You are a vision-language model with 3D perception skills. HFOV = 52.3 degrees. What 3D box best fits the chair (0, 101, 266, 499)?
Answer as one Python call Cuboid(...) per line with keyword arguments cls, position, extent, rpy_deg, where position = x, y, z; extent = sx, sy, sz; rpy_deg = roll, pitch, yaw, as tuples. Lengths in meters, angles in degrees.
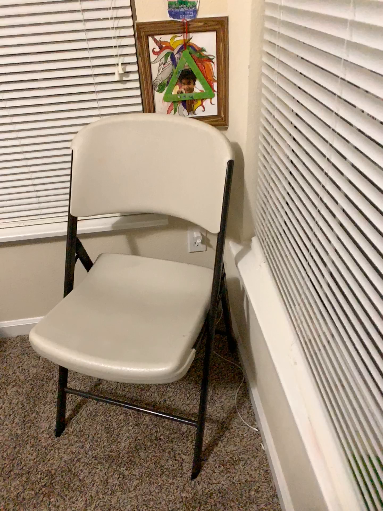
Cuboid(cls="chair", position=(-0.178, 0.067, 1.151), extent=(0.611, 0.816, 0.683), rpy_deg=(10, 37, 18))
